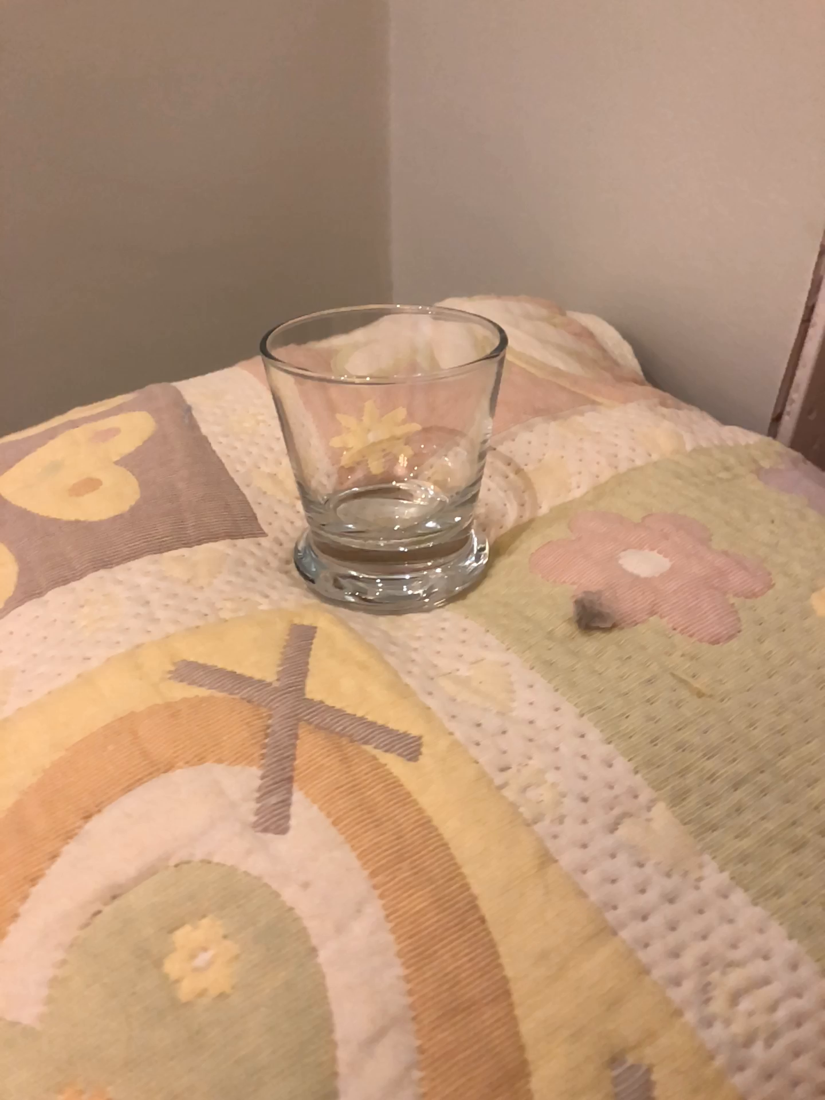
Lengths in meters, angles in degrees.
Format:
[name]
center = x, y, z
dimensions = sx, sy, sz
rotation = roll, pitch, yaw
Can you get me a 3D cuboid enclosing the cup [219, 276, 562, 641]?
[cup]
center = -0.009, -0.038, 0.320
dimensions = 0.080, 0.089, 0.080
rotation = 1, 30, -1
